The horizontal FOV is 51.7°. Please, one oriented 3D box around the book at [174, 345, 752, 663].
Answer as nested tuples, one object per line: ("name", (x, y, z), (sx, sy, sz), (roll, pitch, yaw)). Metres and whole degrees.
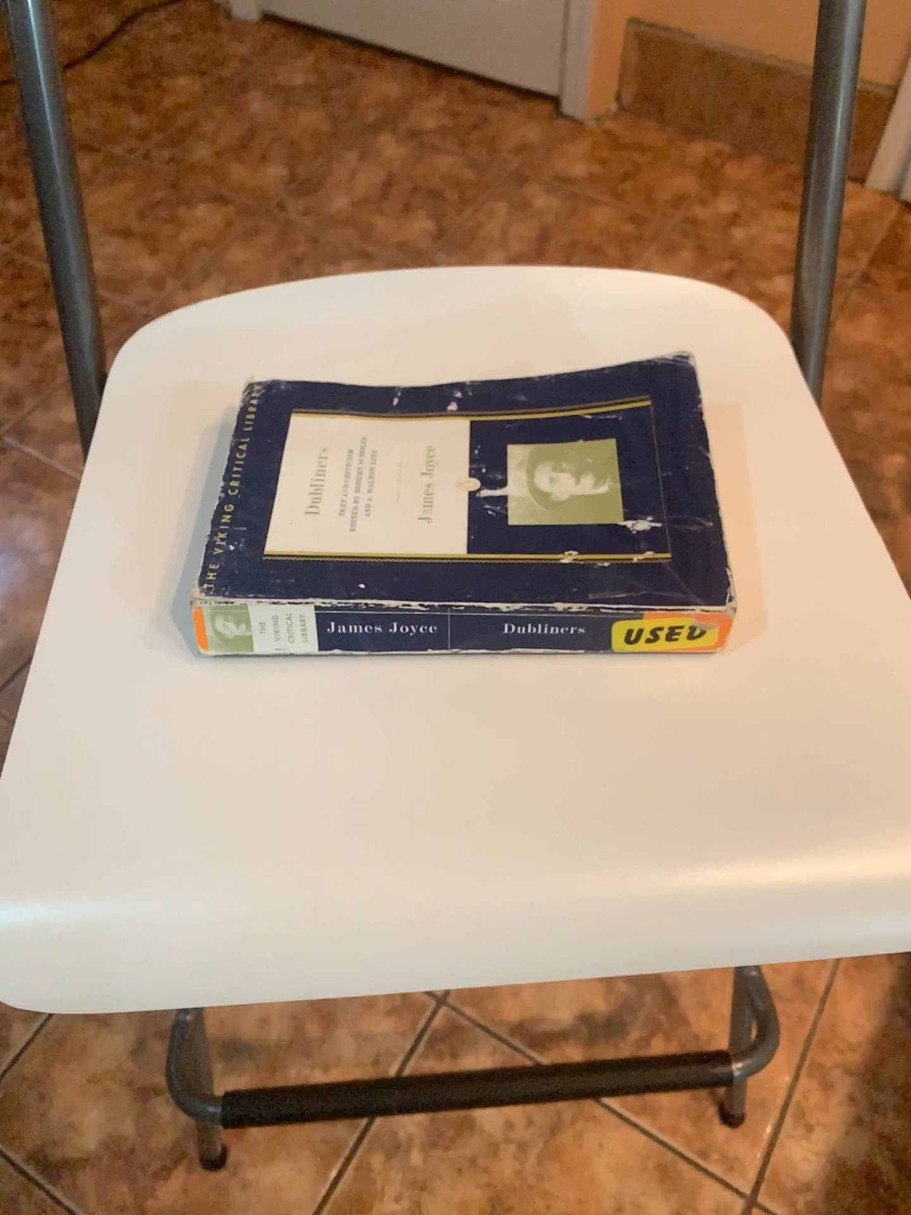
("book", (0.002, -0.045, 0.373), (0.197, 0.035, 0.132), (-1, 55, 0))
